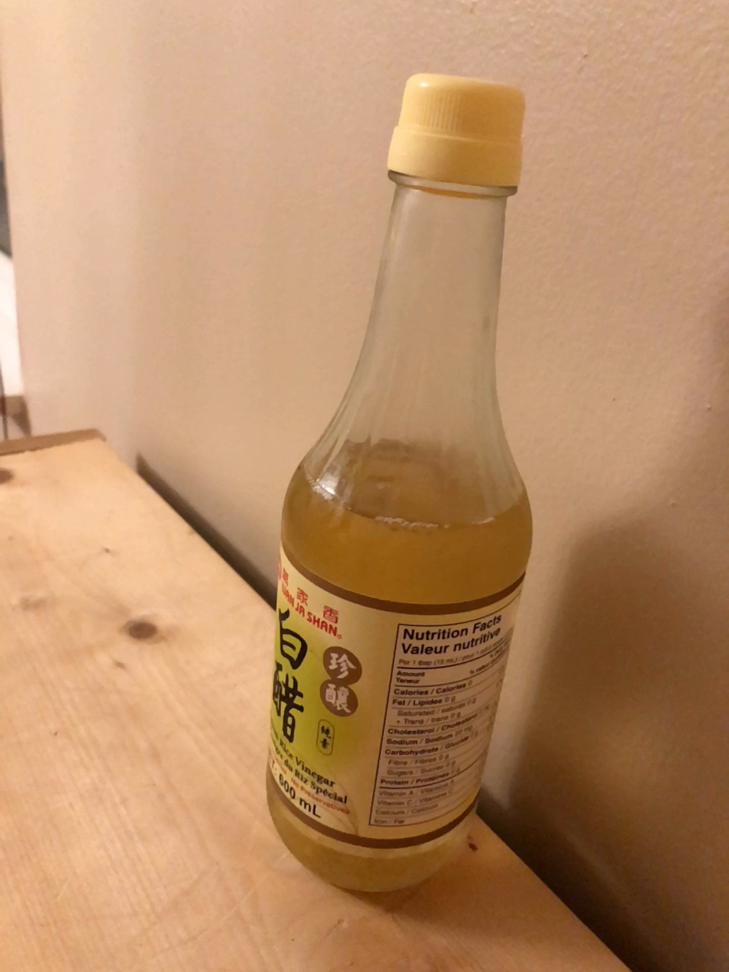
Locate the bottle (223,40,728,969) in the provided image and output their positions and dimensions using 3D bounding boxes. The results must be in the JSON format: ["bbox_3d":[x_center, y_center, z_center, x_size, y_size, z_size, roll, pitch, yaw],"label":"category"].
[{"bbox_3d":[0.016,0.010,0.237,0.080,0.239,0.080,5,25,-2],"label":"bottle"}]
